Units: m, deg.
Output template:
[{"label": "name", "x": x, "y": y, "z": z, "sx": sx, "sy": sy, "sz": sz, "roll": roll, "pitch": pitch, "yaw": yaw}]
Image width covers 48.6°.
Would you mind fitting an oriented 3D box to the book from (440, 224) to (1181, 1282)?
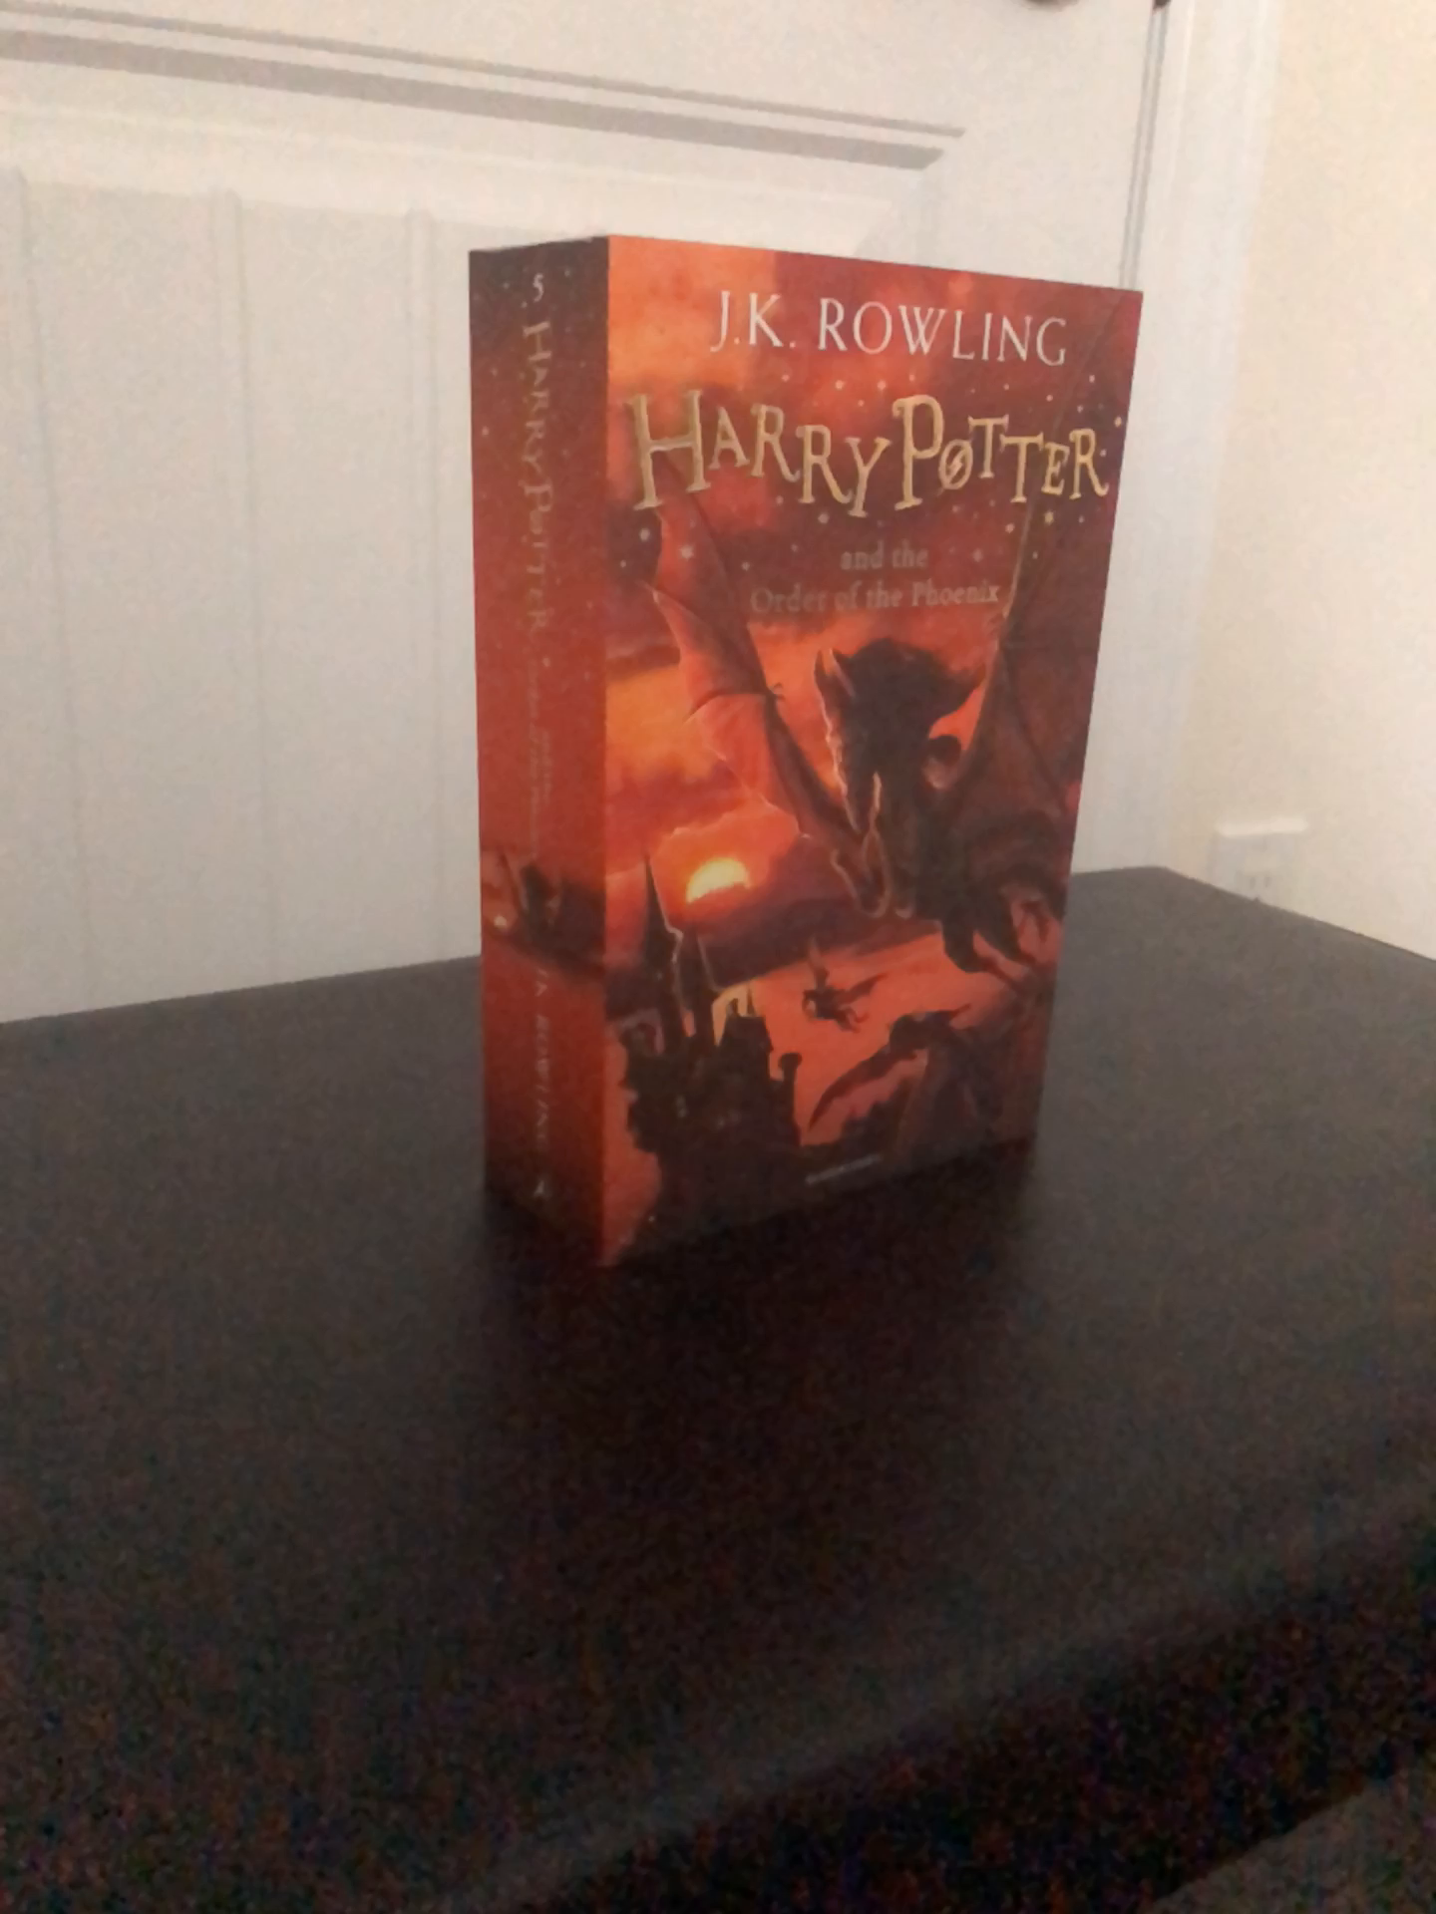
[{"label": "book", "x": 0.018, "y": -0.046, "z": 0.345, "sx": 0.141, "sy": 0.189, "sz": 0.061, "roll": -11, "pitch": 23, "yaw": -36}]
